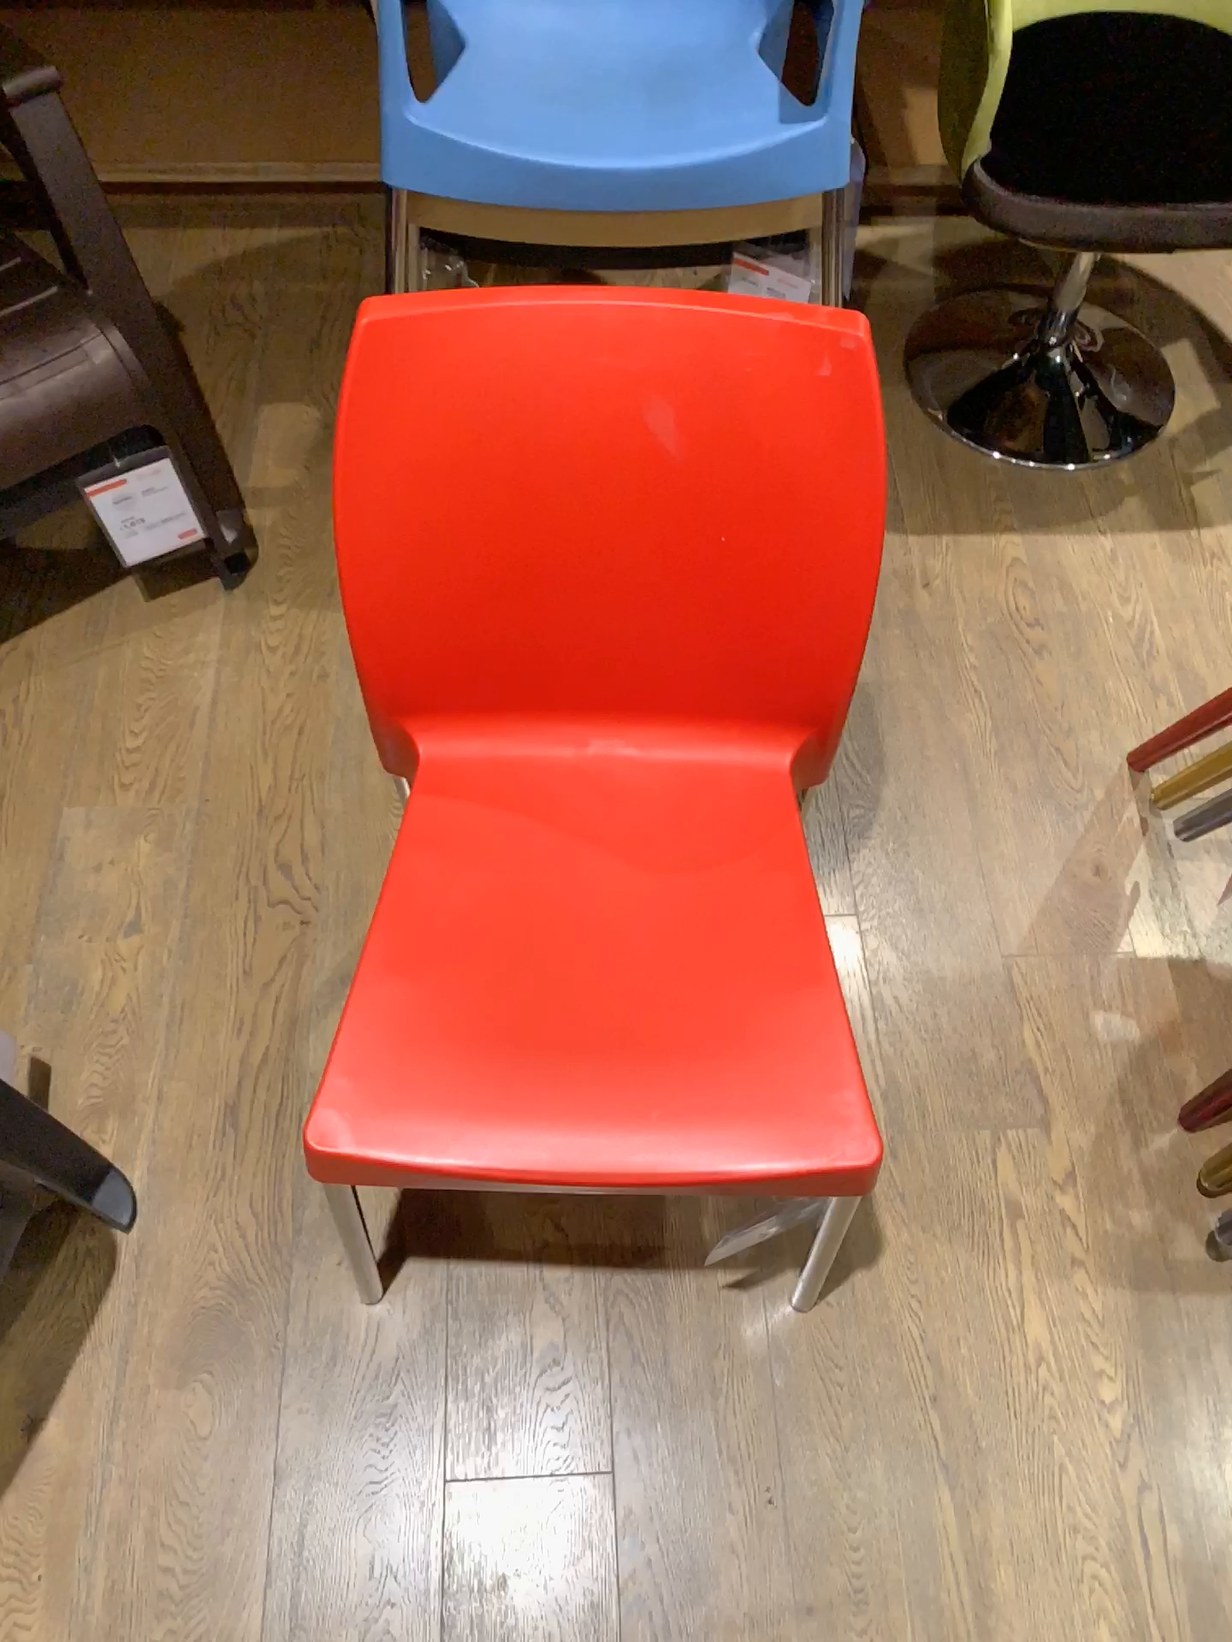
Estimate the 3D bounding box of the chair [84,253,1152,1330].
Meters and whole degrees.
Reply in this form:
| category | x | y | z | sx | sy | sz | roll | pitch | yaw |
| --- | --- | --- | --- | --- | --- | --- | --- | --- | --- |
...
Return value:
| category | x | y | z | sx | sy | sz | roll | pitch | yaw |
| --- | --- | --- | --- | --- | --- | --- | --- | --- | --- |
| chair | 0.004 | 0.050 | 1.116 | 0.530 | 0.778 | 0.622 | 2 | 60 | 0 |
